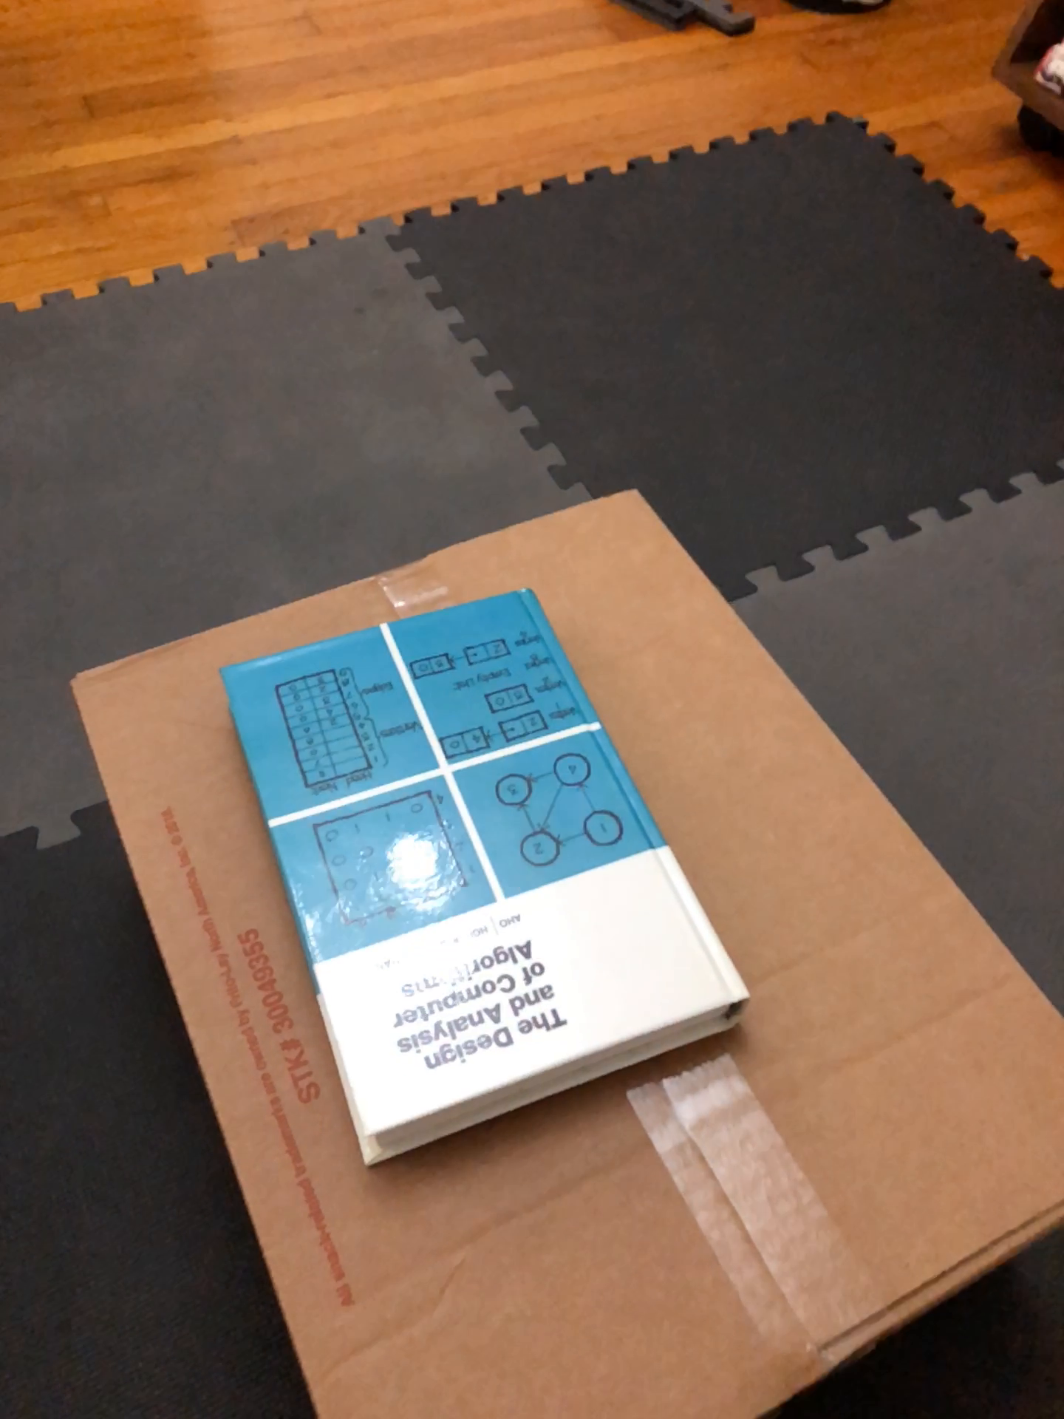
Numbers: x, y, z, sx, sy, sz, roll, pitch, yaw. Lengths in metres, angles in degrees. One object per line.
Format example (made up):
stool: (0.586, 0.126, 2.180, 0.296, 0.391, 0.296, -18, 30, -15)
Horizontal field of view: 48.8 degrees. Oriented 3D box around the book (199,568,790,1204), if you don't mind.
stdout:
book: (-0.030, 0.061, 0.546, 0.190, 0.040, 0.261, -16, 56, -14)
